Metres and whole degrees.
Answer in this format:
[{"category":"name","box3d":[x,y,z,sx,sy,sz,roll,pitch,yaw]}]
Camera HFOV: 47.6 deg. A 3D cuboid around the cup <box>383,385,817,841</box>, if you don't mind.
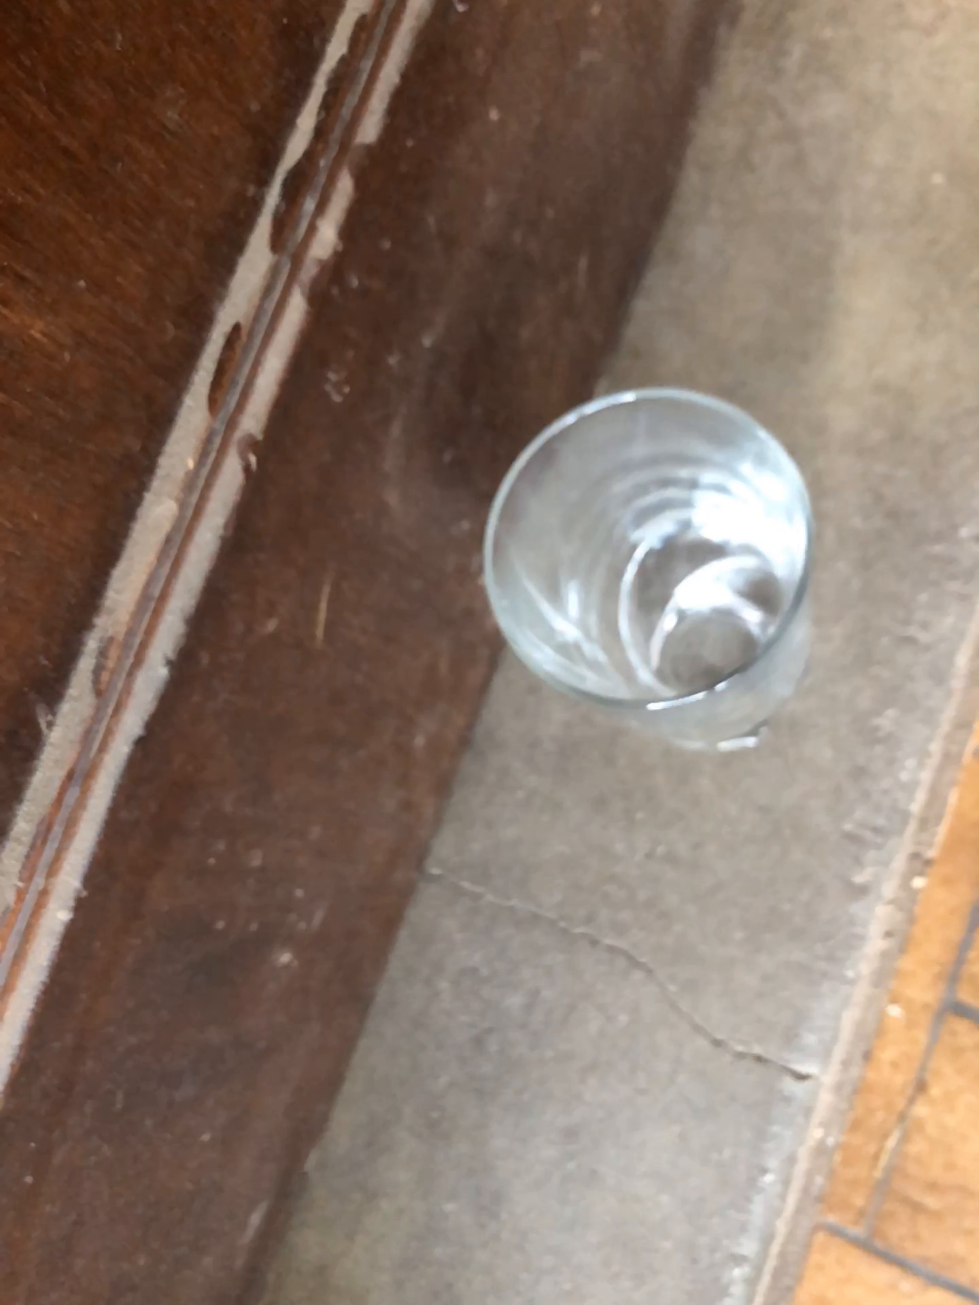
[{"category":"cup","box3d":[0.038,0.001,0.270,0.060,0.140,0.070,17,85,19]}]
